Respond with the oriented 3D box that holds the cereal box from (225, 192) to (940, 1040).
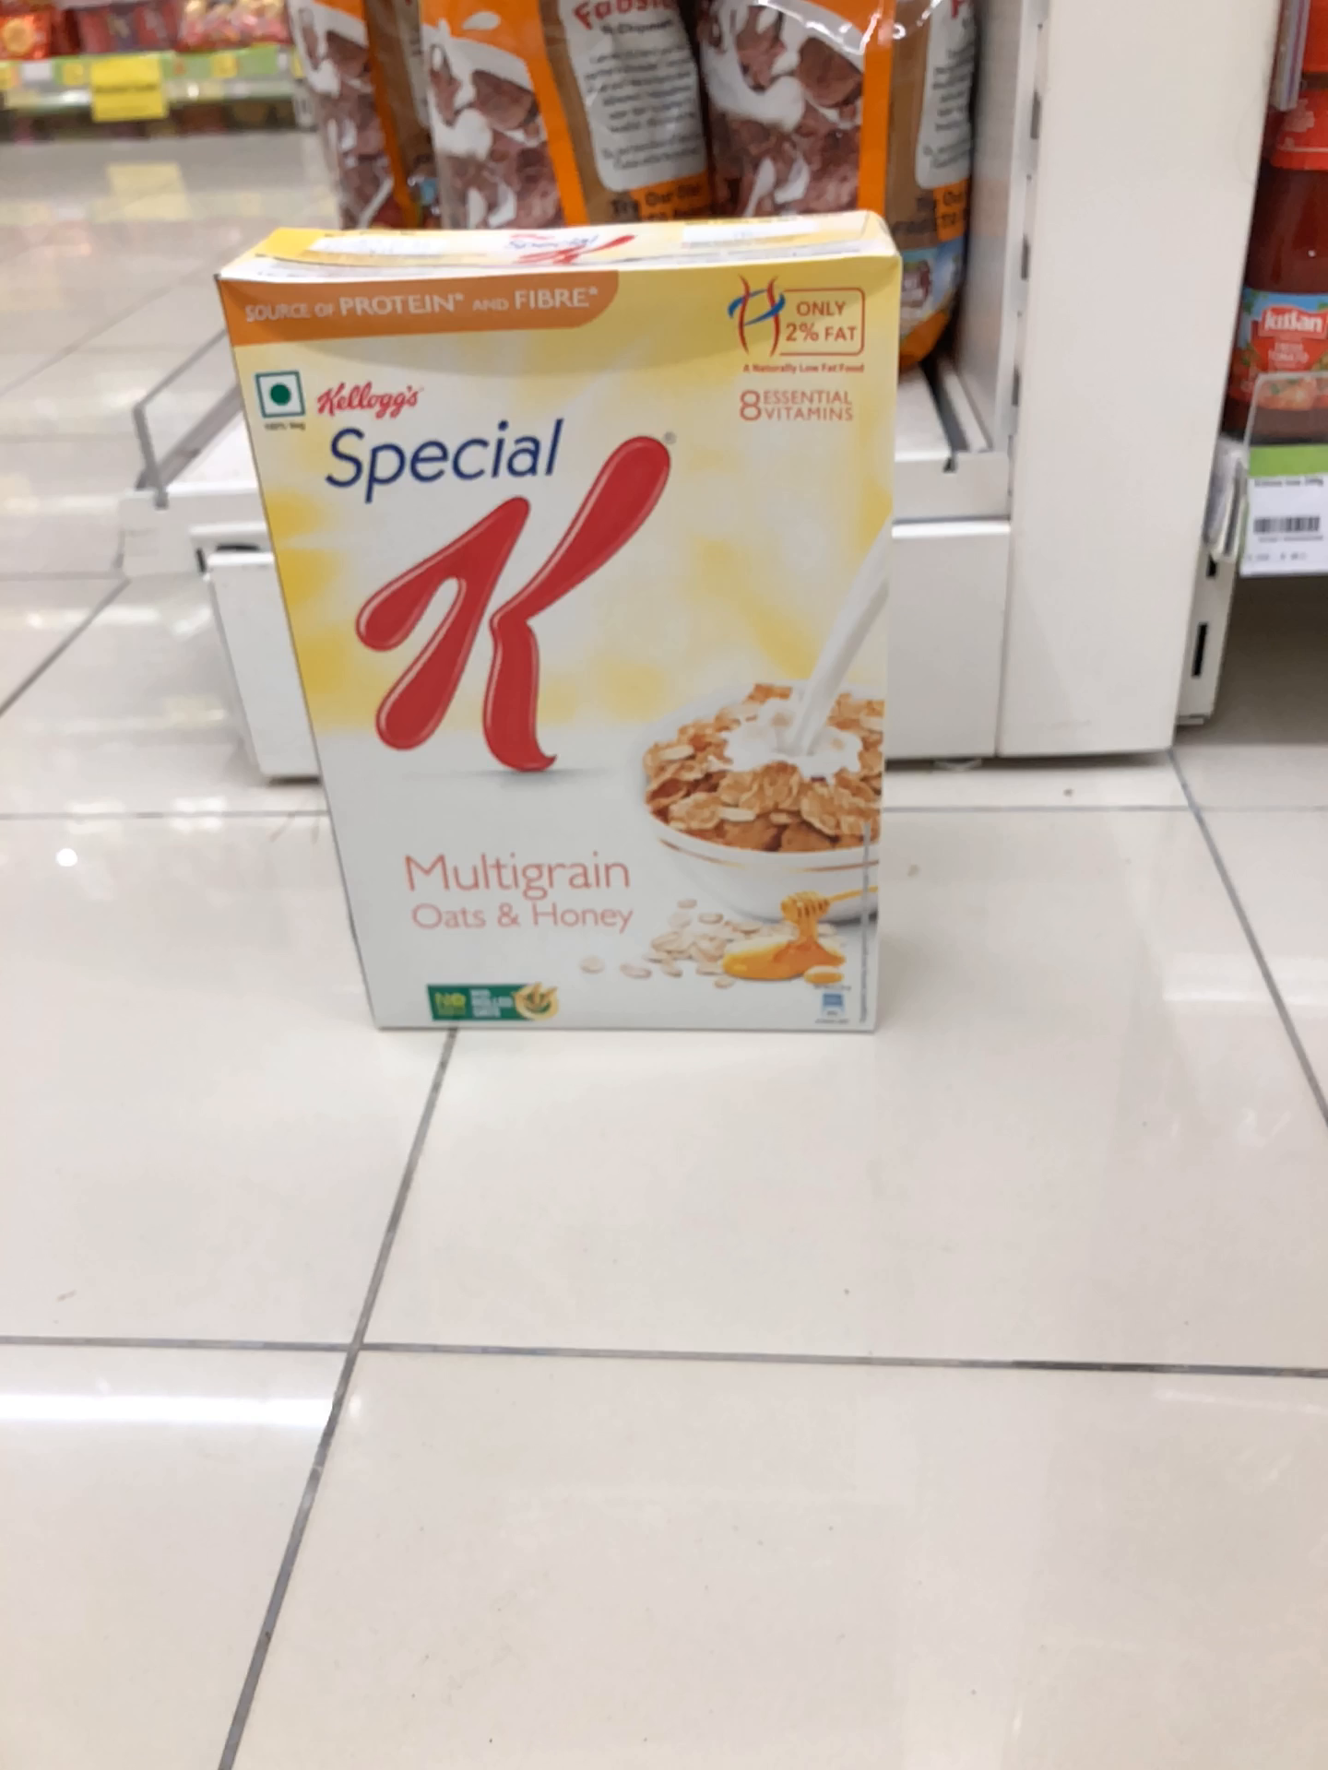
[{"bbox_3d":[-0.018,-0.078,0.493,0.190,0.268,0.070,1,33,4],"label":"cereal box"}]
